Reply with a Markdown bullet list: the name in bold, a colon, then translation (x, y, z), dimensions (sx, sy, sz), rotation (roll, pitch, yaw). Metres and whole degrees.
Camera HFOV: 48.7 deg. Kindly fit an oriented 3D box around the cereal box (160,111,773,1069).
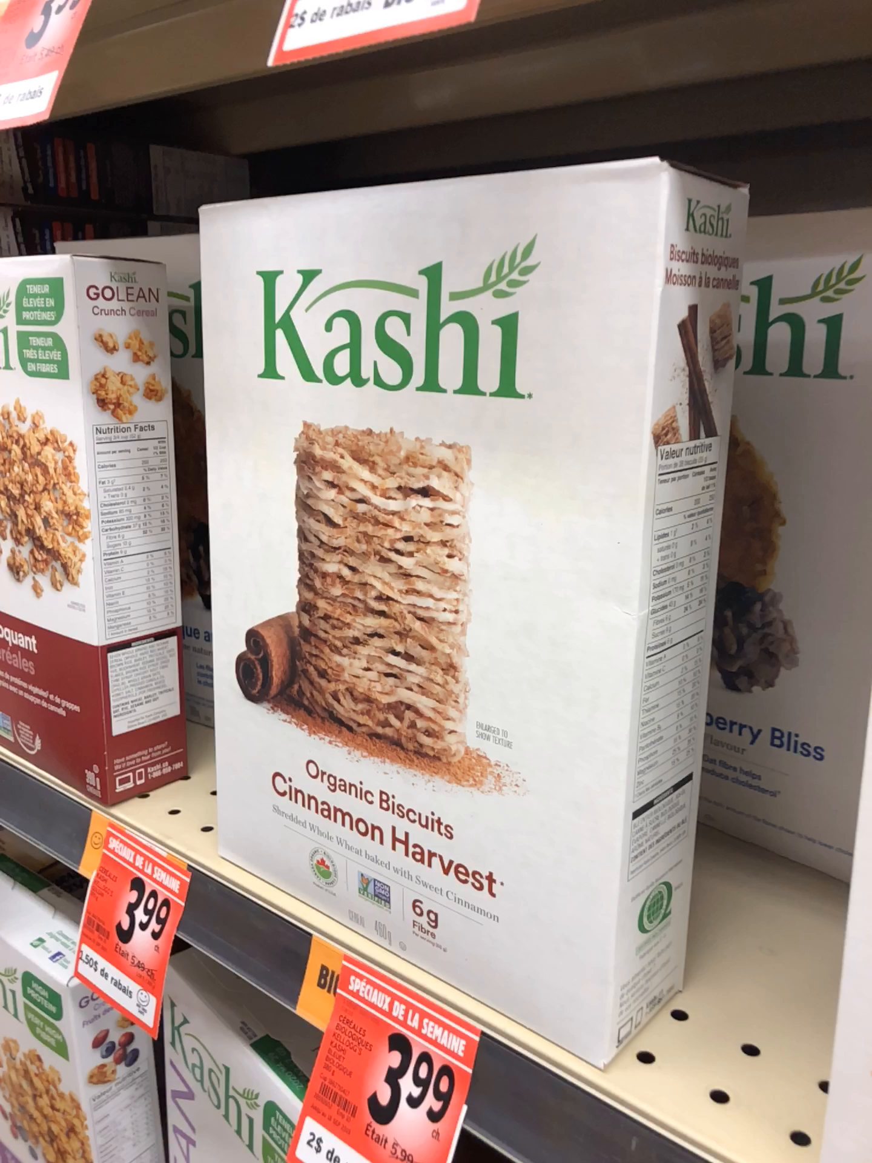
- **cereal box**: translation (-0.001, -0.005, 0.349), dimensions (0.200, 0.269, 0.070), rotation (13, 20, 39)
